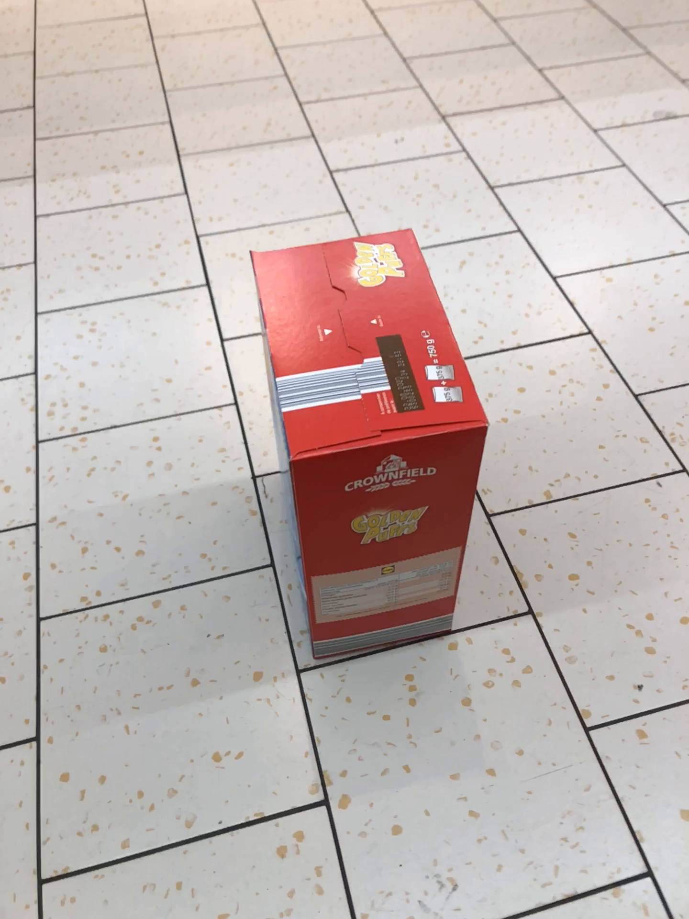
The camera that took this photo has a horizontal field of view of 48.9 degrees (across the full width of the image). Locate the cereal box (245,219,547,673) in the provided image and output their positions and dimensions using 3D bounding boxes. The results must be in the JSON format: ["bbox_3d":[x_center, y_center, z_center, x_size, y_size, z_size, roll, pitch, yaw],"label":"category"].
[{"bbox_3d":[0.023,-0.002,0.557,0.140,0.248,0.201,-10,51,-6],"label":"cereal box"}]
